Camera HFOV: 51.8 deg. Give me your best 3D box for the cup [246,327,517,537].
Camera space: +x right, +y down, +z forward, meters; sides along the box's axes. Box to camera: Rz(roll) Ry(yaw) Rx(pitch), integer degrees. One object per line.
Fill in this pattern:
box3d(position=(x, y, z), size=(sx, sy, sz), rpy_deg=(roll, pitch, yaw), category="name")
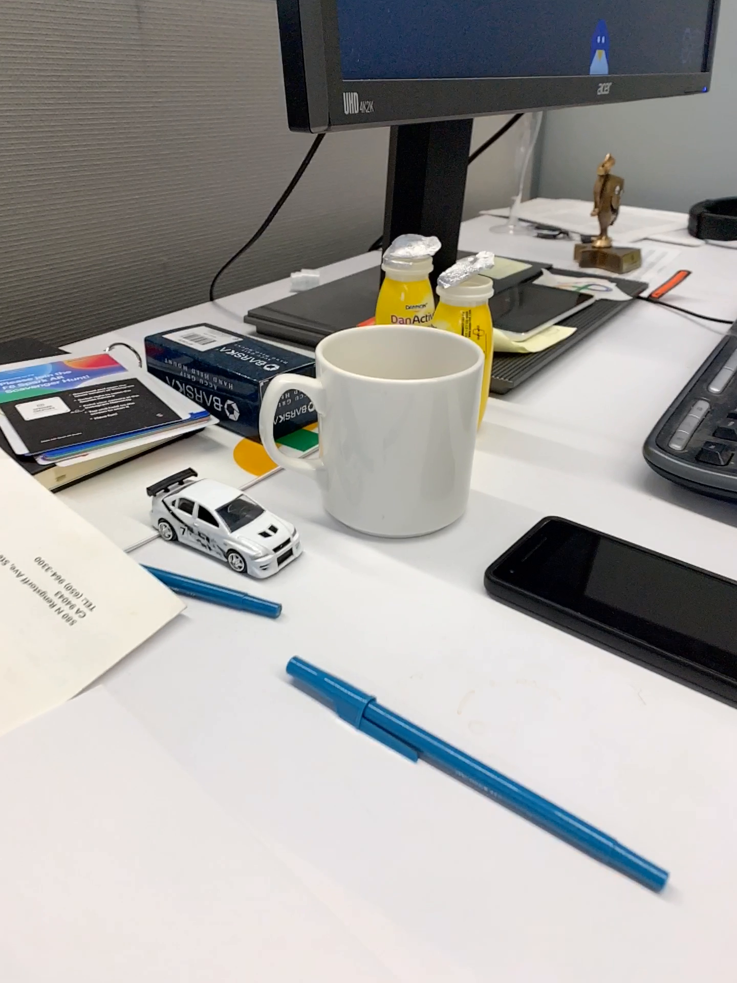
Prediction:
box3d(position=(0.001, -0.033, 0.382), size=(0.120, 0.080, 0.070), rpy_deg=(-2, 29, -7), category="cup")
